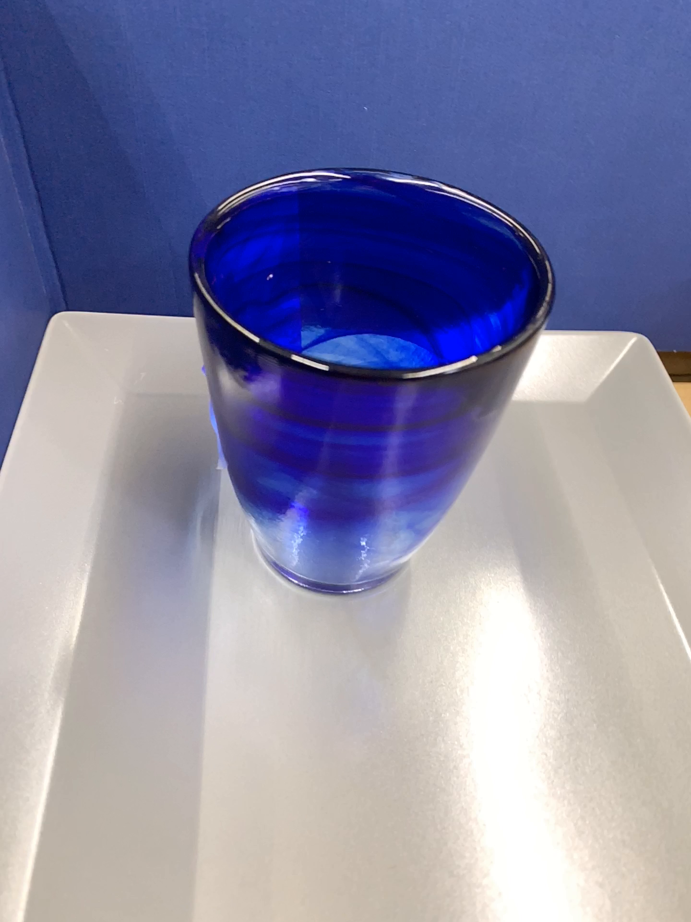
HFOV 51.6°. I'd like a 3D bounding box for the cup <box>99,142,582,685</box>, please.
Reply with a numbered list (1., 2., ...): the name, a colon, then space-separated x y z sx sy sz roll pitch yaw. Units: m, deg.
1. cup: -0.002 -0.015 0.215 0.082 0.111 0.088 3 46 -3
